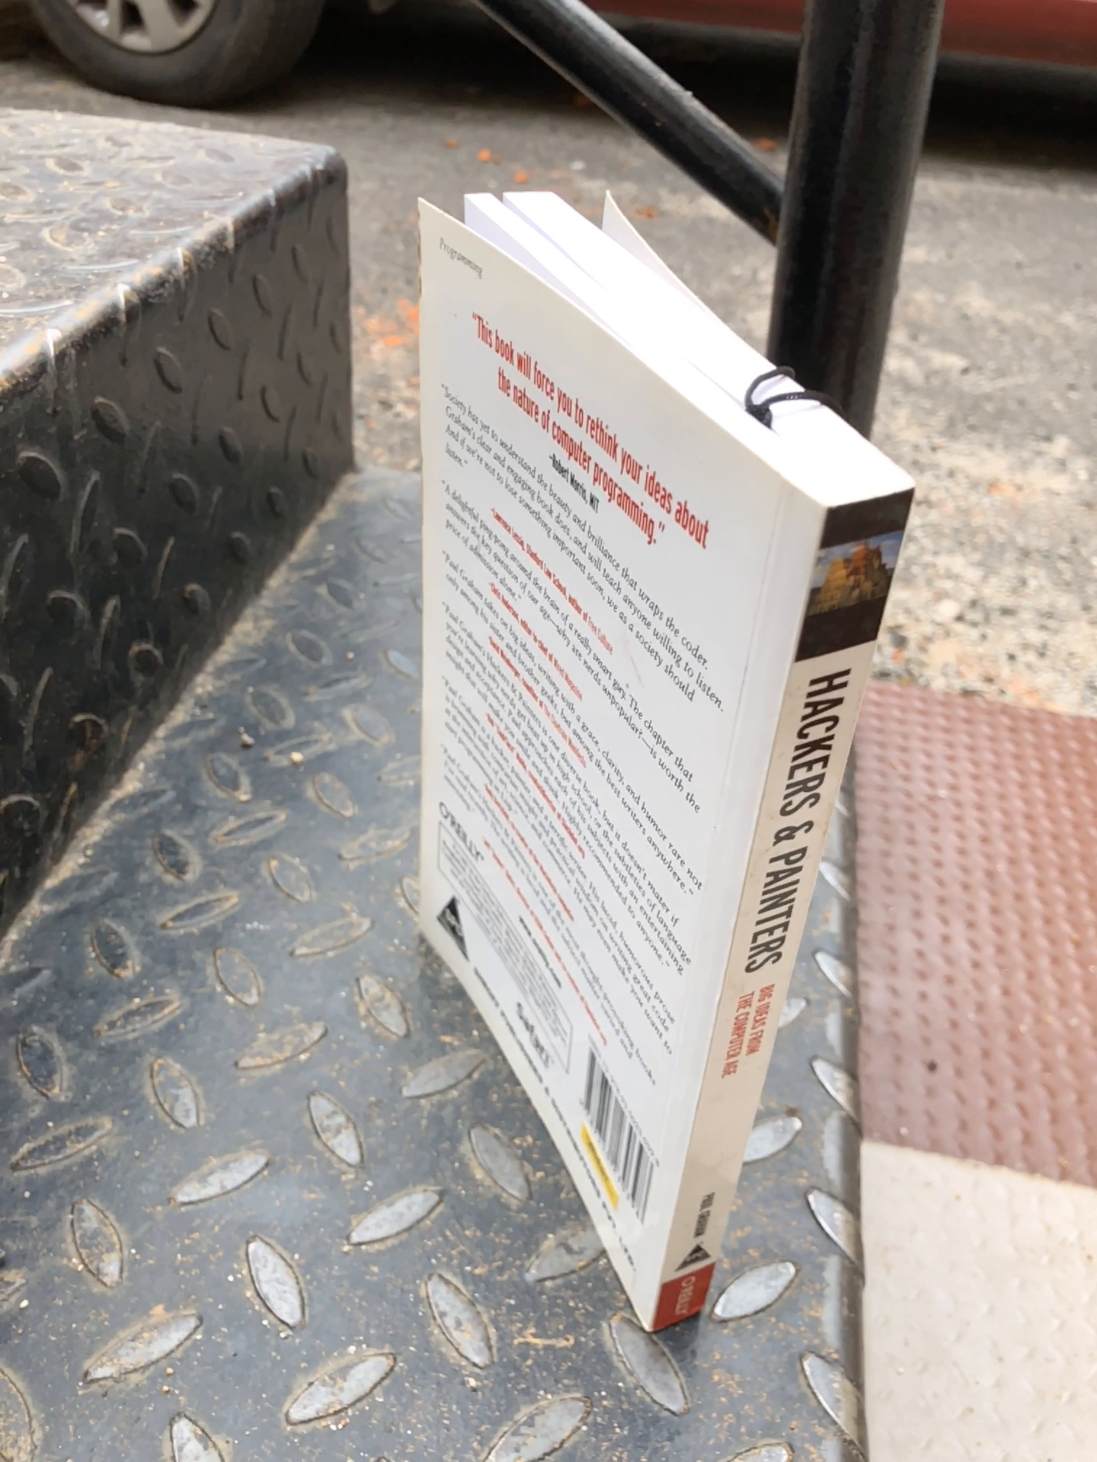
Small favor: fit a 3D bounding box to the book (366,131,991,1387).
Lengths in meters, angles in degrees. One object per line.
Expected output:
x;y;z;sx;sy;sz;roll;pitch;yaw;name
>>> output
0.003;0.010;0.272;0.030;0.219;0.171;-13;43;-18;book
